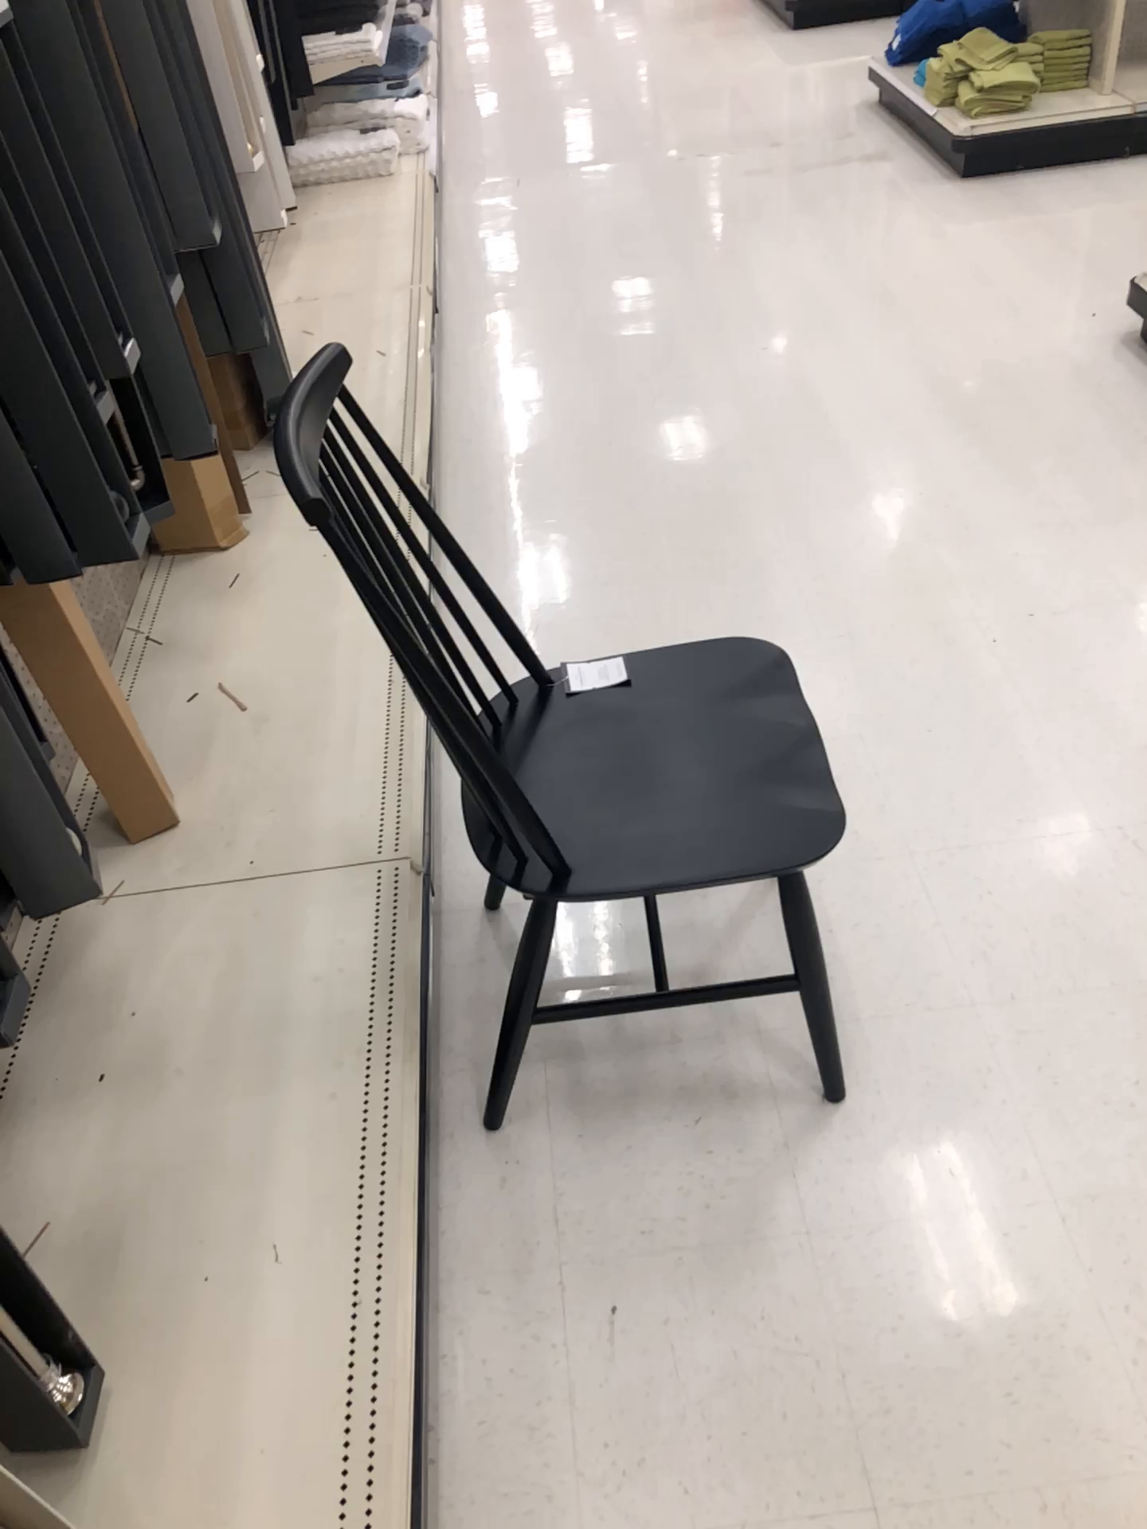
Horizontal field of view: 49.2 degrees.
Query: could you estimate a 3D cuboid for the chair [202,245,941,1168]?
[{"bbox_3d":[0.023,-0.038,1.510,0.608,0.909,0.520,-8,39,0],"label":"chair"}]
